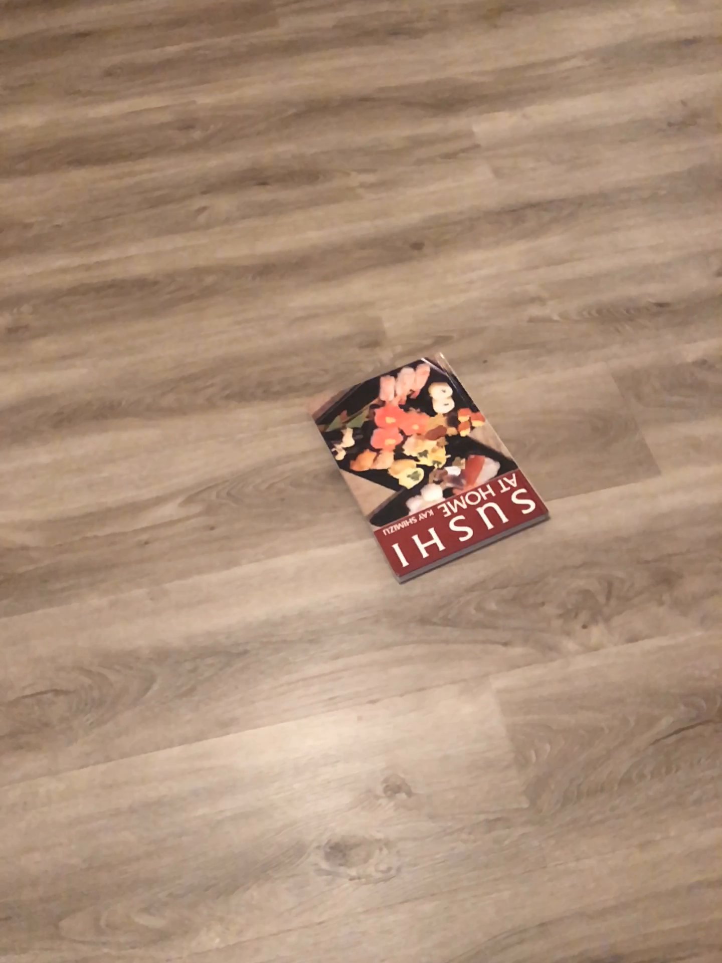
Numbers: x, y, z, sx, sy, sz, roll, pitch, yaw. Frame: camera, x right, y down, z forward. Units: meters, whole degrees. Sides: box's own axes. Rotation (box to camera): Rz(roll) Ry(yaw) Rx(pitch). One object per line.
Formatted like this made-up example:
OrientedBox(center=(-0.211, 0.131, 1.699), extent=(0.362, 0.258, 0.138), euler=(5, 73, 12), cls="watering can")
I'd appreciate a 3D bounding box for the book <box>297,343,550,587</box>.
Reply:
OrientedBox(center=(0.064, -0.030, 0.918), extent=(0.190, 0.030, 0.259), euler=(-22, 59, -10), cls="book")
